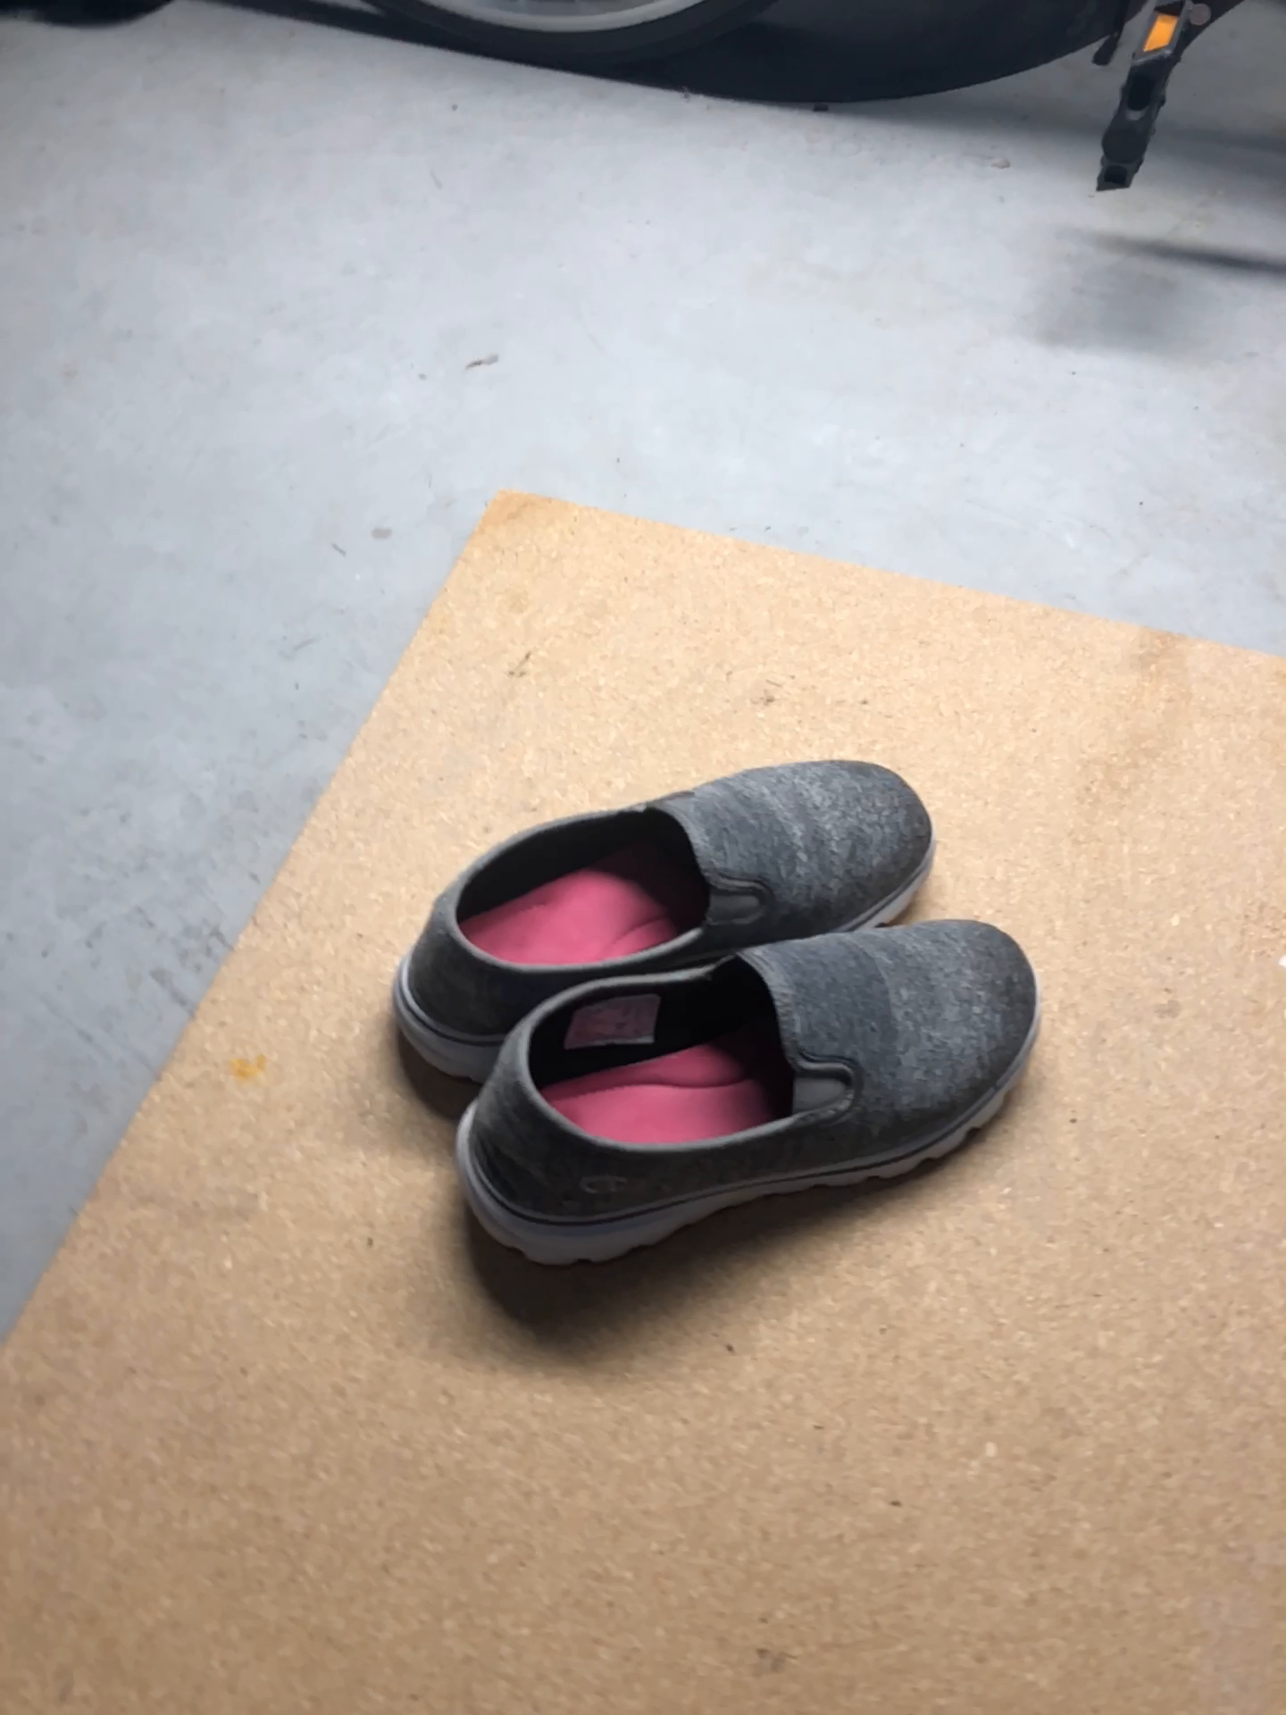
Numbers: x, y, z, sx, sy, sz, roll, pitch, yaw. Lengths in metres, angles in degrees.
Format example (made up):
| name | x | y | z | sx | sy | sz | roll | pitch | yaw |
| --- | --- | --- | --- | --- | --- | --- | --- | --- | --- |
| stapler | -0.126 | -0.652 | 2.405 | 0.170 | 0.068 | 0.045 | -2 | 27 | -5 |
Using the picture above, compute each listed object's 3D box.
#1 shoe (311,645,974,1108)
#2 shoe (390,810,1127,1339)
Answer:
| name | x | y | z | sx | sy | sz | roll | pitch | yaw |
| --- | --- | --- | --- | --- | --- | --- | --- | --- | --- |
| shoe | 0.000 | 0.004 | 0.602 | 0.250 | 0.073 | 0.100 | -19 | 56 | -14 |
| shoe | 0.043 | 0.078 | 0.542 | 0.250 | 0.070 | 0.100 | -19 | 56 | -14 |
